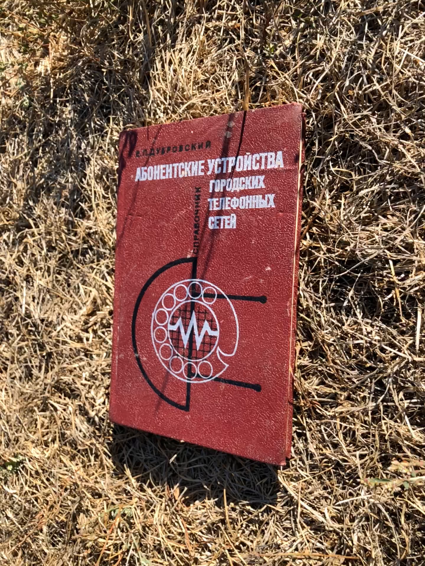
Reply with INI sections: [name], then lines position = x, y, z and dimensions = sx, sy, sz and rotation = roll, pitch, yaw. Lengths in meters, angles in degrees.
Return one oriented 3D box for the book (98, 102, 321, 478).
[book]
position = -0.008, 0.001, 0.313
dimensions = 0.142, 0.030, 0.211
rotation = 3, 91, 29
